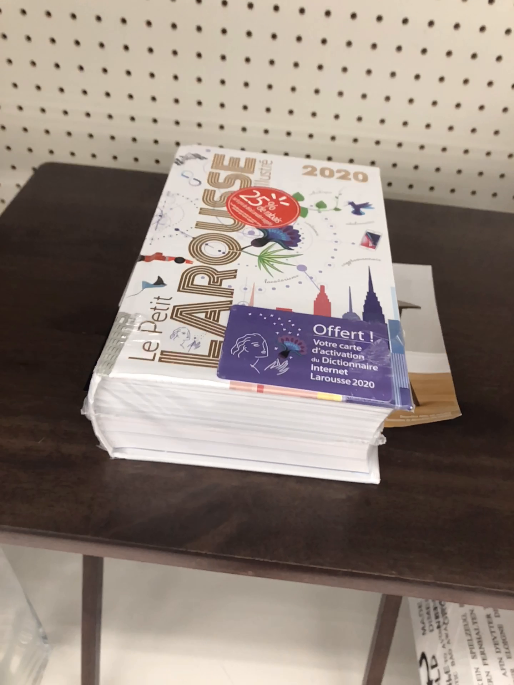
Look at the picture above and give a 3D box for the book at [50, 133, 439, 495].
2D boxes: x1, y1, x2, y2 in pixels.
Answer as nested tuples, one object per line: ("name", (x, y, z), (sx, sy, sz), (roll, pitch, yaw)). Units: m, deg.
("book", (0.001, -0.036, 0.354), (0.170, 0.069, 0.232), (6, 45, 0))
